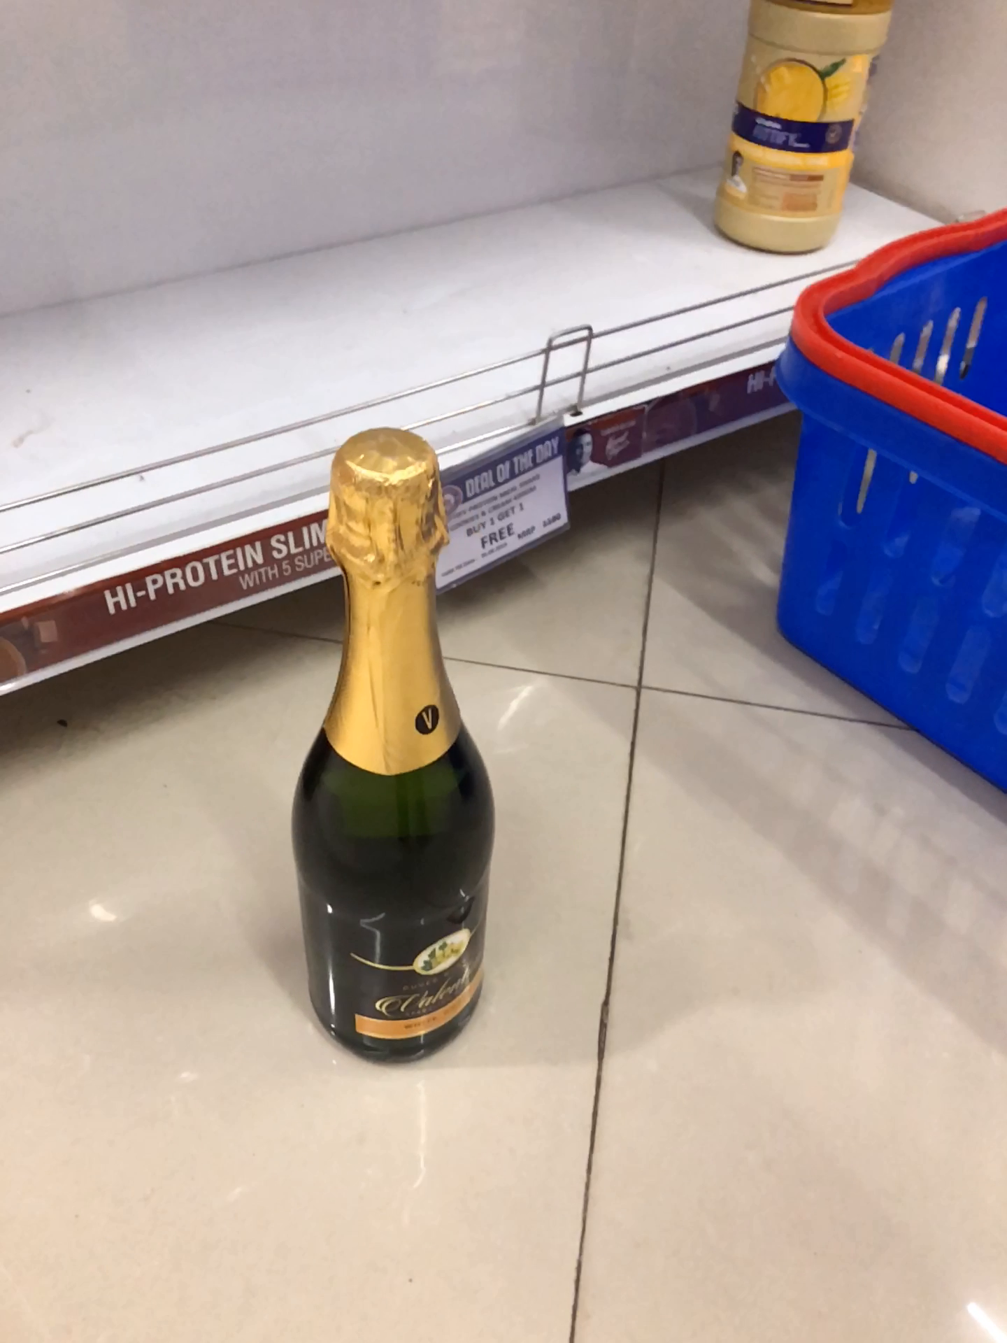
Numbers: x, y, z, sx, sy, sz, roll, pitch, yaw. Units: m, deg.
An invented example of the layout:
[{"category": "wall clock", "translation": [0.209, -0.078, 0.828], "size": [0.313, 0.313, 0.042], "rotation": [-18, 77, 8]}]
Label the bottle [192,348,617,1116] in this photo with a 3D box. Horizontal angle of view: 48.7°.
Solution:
[{"category": "bottle", "translation": [-0.038, 0.043, 0.430], "size": [0.090, 0.298, 0.090], "rotation": [2, 43, -2]}]
